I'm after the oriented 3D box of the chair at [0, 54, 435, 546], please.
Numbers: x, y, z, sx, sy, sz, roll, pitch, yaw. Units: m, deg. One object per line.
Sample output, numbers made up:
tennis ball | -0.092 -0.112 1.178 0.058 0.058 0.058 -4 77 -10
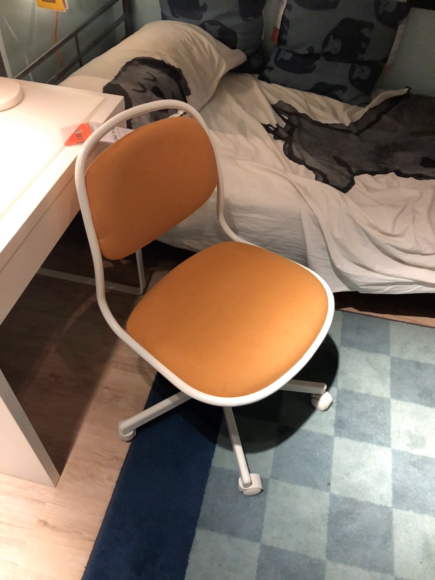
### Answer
chair | 0.043 0.033 1.116 0.561 0.795 0.612 33 54 24
